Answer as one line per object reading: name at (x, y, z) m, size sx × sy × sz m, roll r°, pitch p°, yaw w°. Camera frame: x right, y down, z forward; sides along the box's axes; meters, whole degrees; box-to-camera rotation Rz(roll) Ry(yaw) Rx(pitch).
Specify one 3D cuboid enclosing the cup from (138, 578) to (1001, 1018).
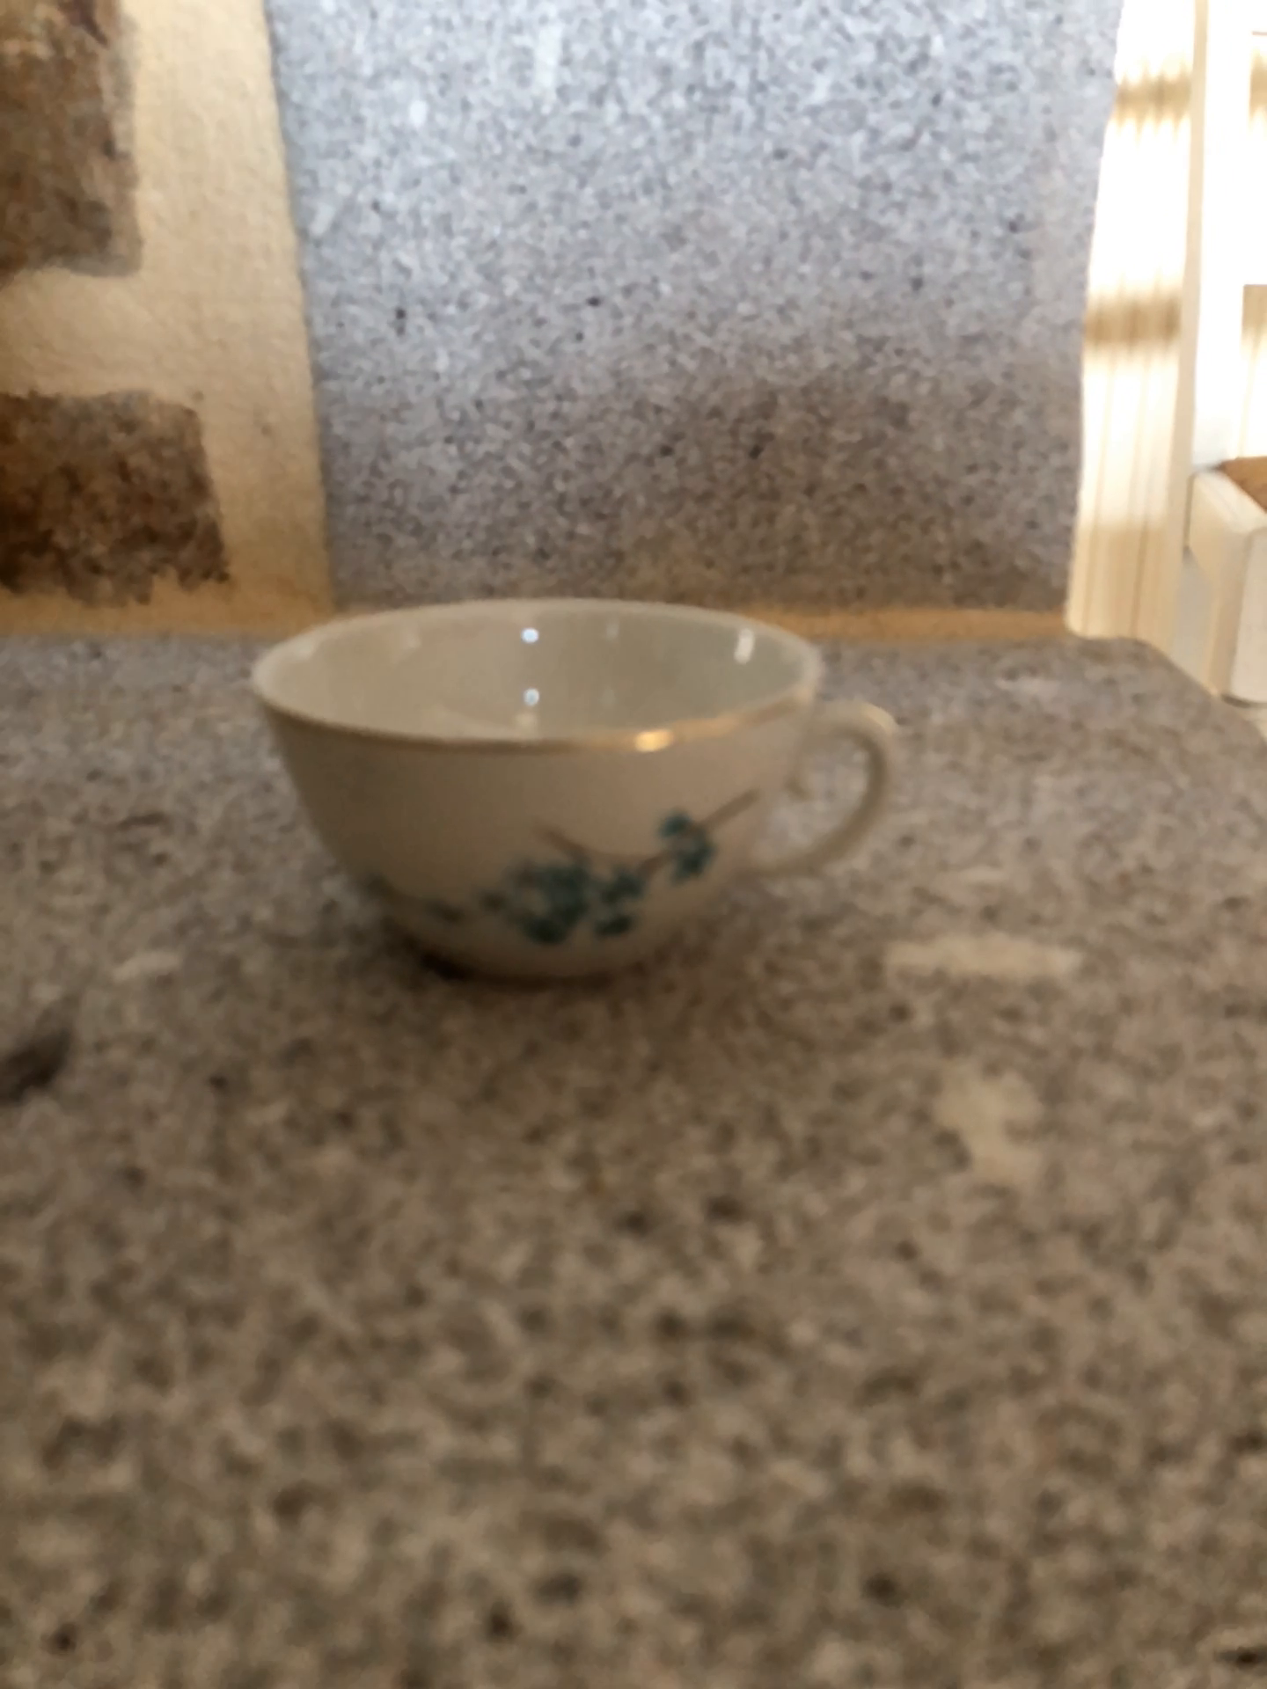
cup at (-0.011, -0.014, 0.223) m, size 0.110 × 0.040 × 0.090 m, roll -3°, pitch 21°, yaw -6°
